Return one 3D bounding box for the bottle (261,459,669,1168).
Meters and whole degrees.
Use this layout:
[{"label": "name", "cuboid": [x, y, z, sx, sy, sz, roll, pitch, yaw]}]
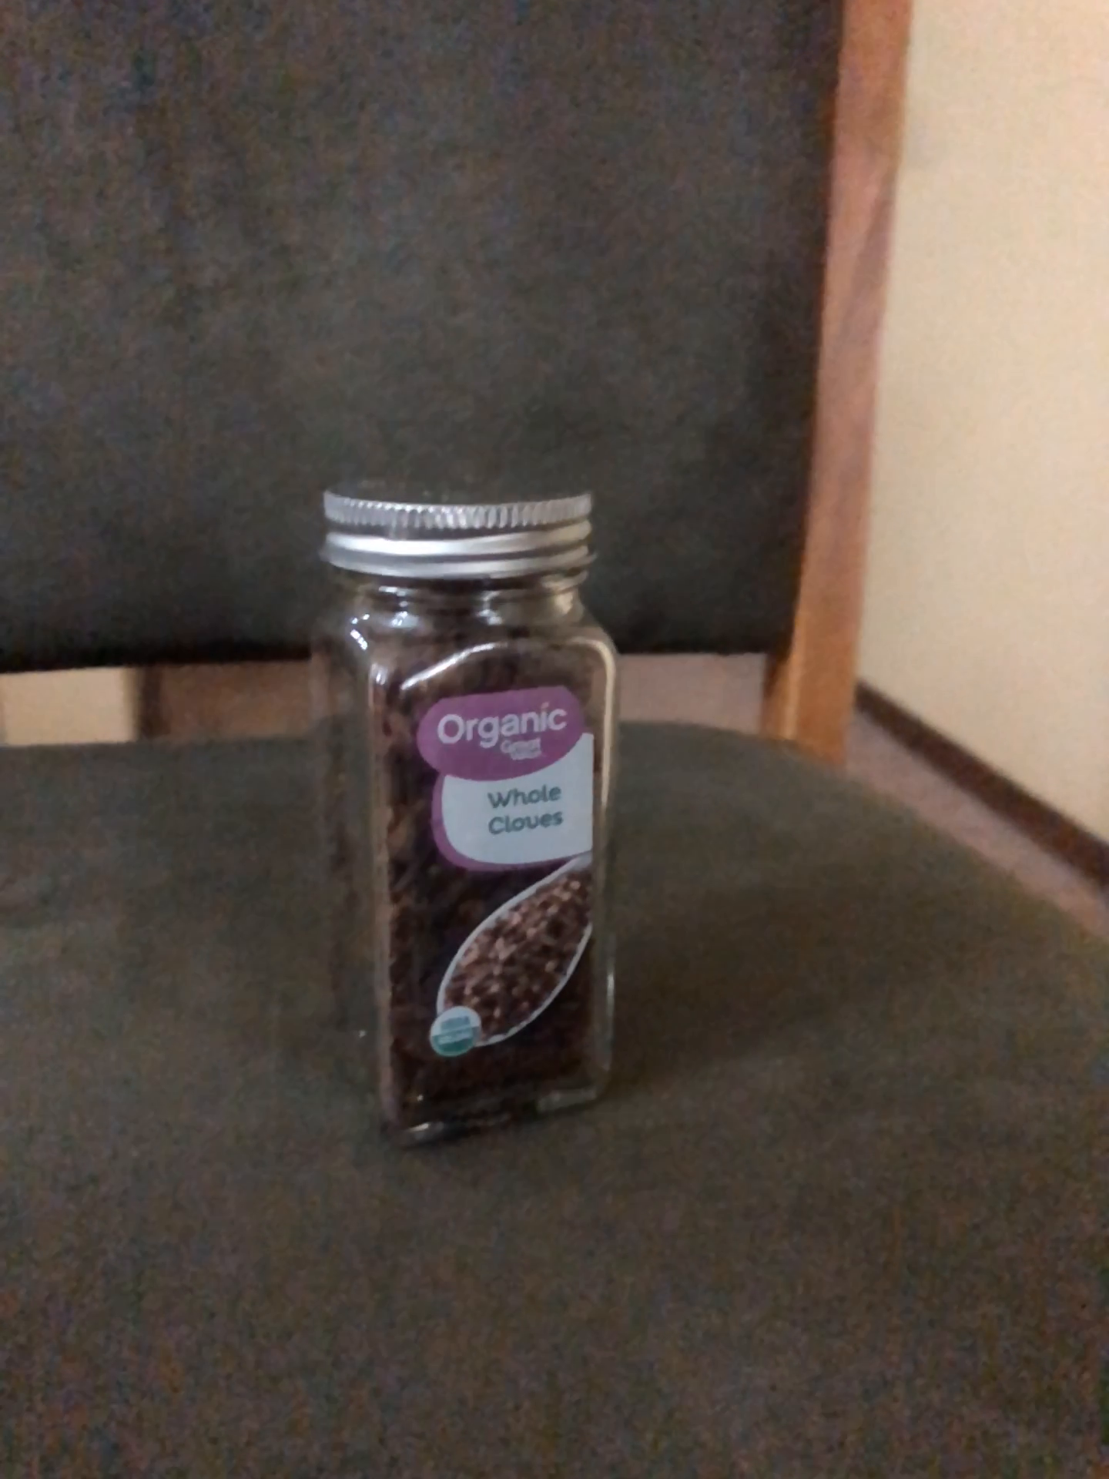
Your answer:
[{"label": "bottle", "cuboid": [-0.016, 0.008, 0.206, 0.050, 0.100, 0.050, 0, 18, 0]}]
